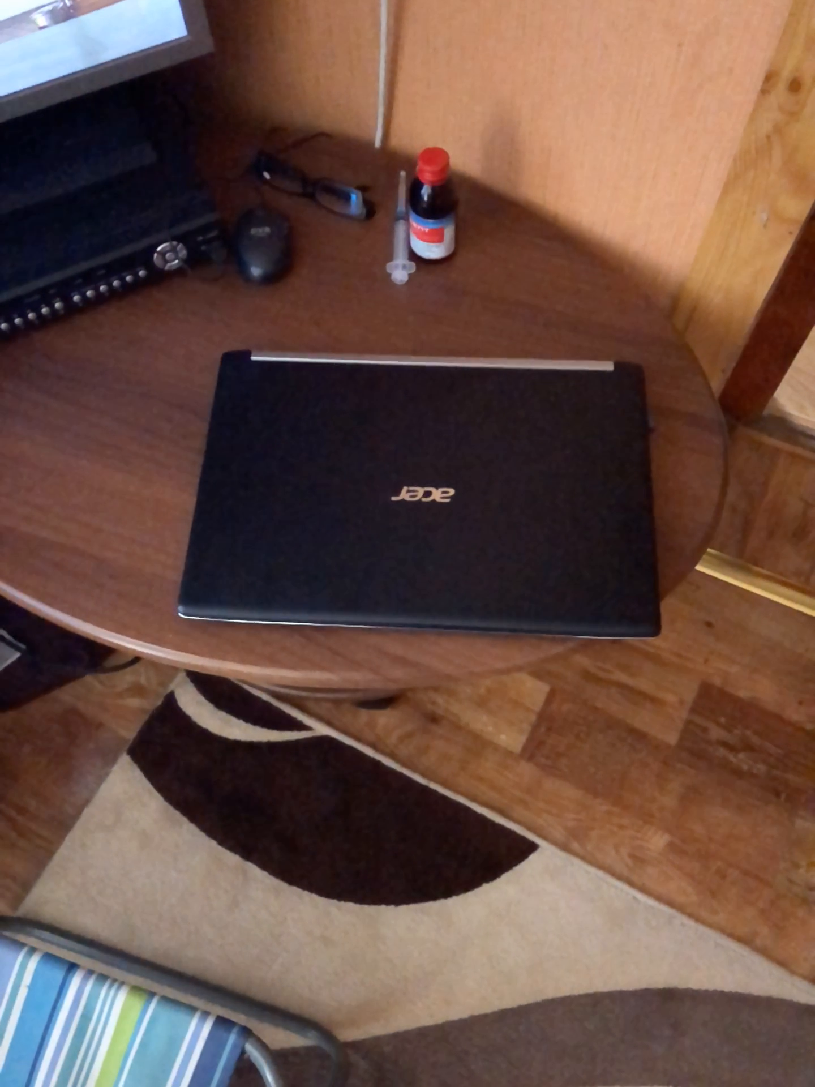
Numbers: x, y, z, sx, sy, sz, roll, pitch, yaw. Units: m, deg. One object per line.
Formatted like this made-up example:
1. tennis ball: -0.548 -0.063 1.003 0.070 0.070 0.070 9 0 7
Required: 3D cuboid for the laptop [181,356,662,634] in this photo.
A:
1. laptop: 0.017 -0.048 0.730 0.363 0.004 0.240 2 65 1
